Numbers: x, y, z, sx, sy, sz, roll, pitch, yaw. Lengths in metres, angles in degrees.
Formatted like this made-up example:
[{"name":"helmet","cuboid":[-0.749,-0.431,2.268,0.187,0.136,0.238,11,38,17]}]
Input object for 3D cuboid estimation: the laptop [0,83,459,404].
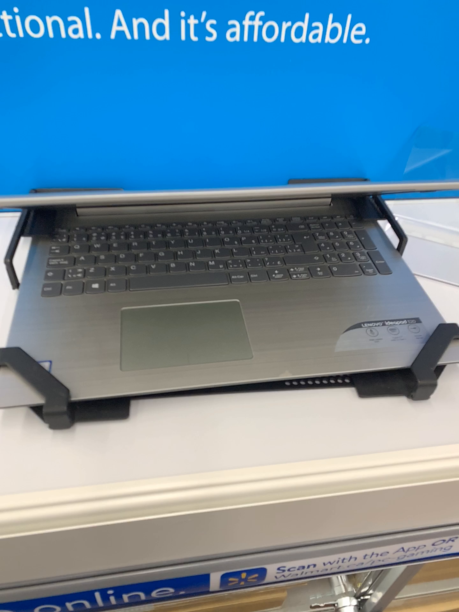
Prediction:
[{"name":"laptop","cuboid":[0.000,-0.068,0.352,0.324,0.110,0.220,-4,45,-9]}]
